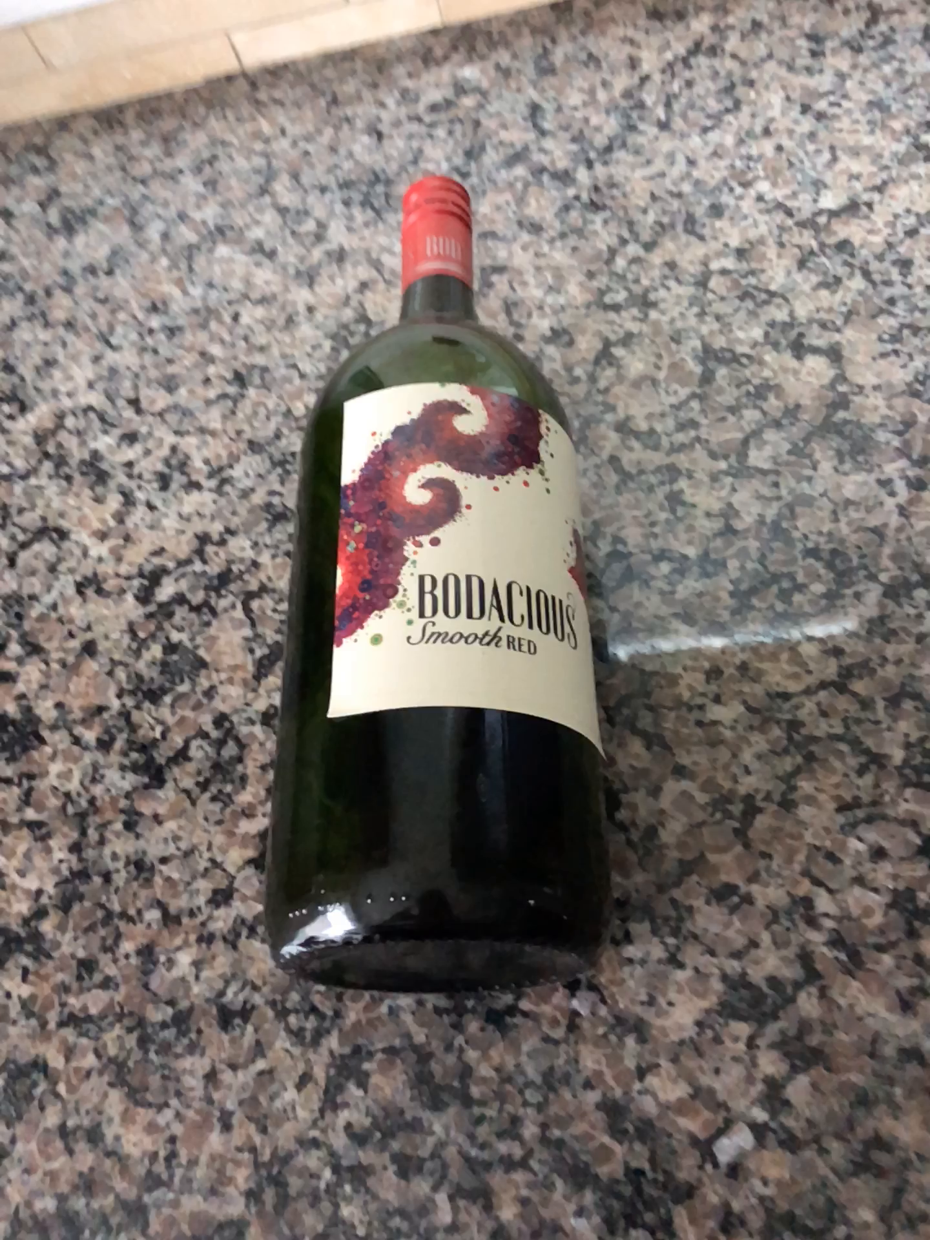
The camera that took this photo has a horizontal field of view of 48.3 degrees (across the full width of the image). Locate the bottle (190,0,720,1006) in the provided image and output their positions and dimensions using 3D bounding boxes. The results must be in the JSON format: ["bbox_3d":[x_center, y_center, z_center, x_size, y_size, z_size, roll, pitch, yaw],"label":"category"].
[{"bbox_3d":[-0.007,-0.052,0.372,0.100,0.110,0.341,-31,49,43],"label":"bottle"}]
